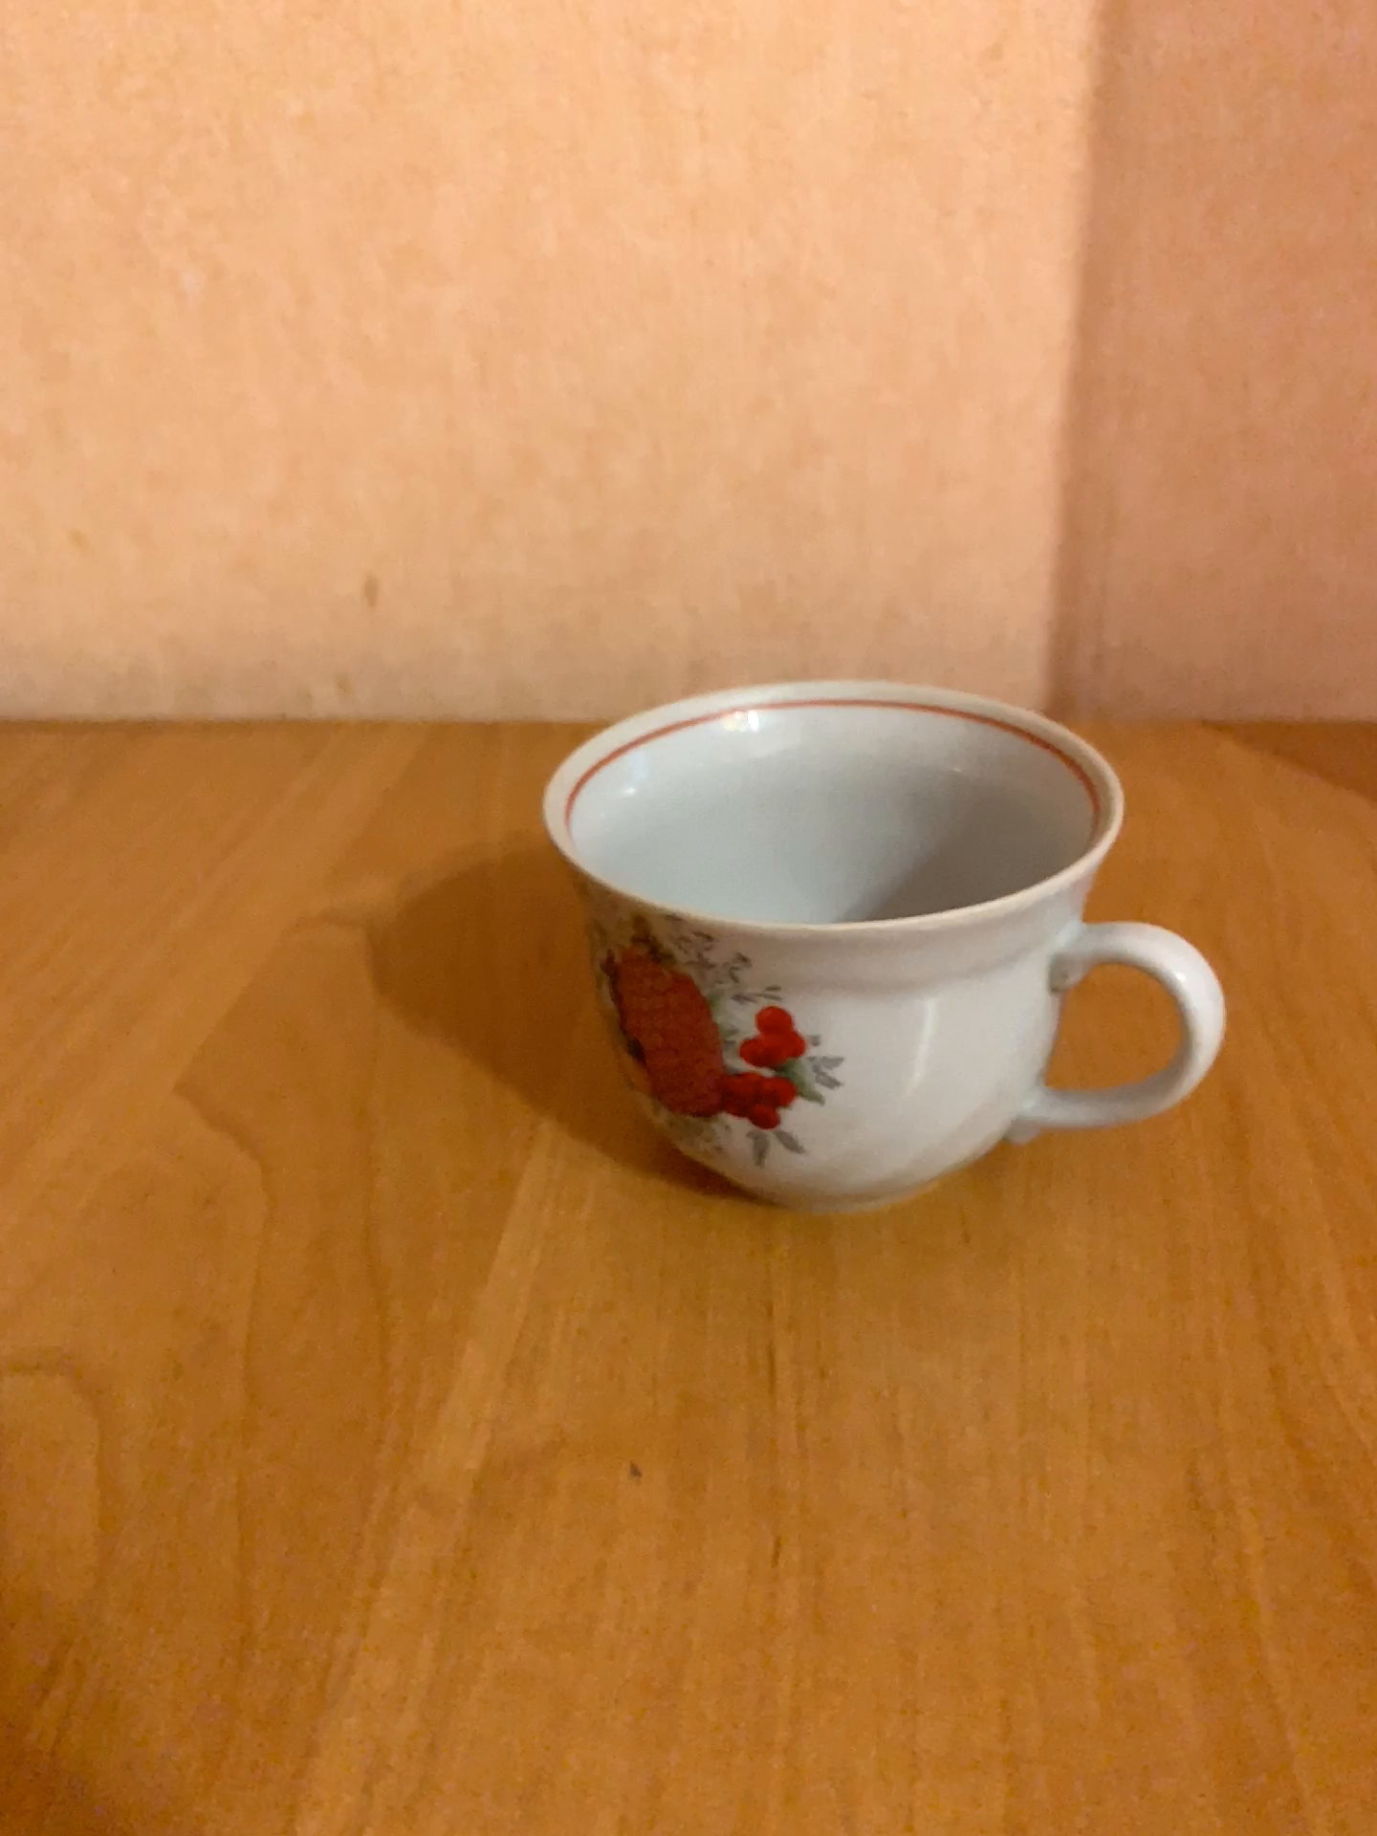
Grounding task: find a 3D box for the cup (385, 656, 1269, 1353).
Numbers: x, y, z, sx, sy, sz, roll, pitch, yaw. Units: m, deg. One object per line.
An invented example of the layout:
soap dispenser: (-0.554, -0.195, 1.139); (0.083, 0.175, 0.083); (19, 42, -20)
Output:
cup: (0.026, 0.004, 0.225); (0.109, 0.056, 0.083); (9, 32, 21)
